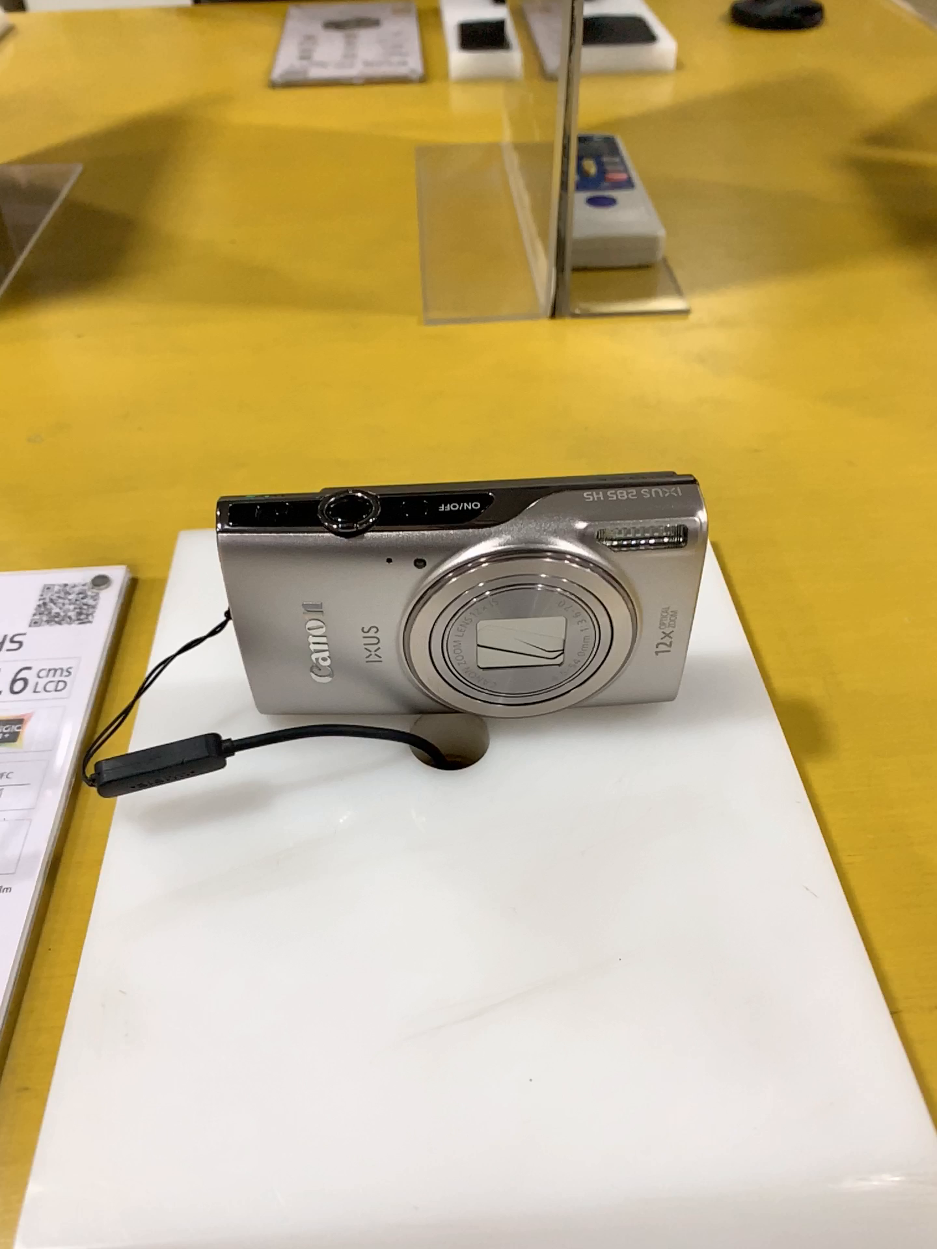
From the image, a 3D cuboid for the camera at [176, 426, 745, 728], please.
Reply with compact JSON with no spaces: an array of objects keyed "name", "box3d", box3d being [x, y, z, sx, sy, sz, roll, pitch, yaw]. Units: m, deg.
[{"name":"camera","box3d":[-0.001,-0.009,0.200,0.100,0.050,0.030,-3,44,0]}]
